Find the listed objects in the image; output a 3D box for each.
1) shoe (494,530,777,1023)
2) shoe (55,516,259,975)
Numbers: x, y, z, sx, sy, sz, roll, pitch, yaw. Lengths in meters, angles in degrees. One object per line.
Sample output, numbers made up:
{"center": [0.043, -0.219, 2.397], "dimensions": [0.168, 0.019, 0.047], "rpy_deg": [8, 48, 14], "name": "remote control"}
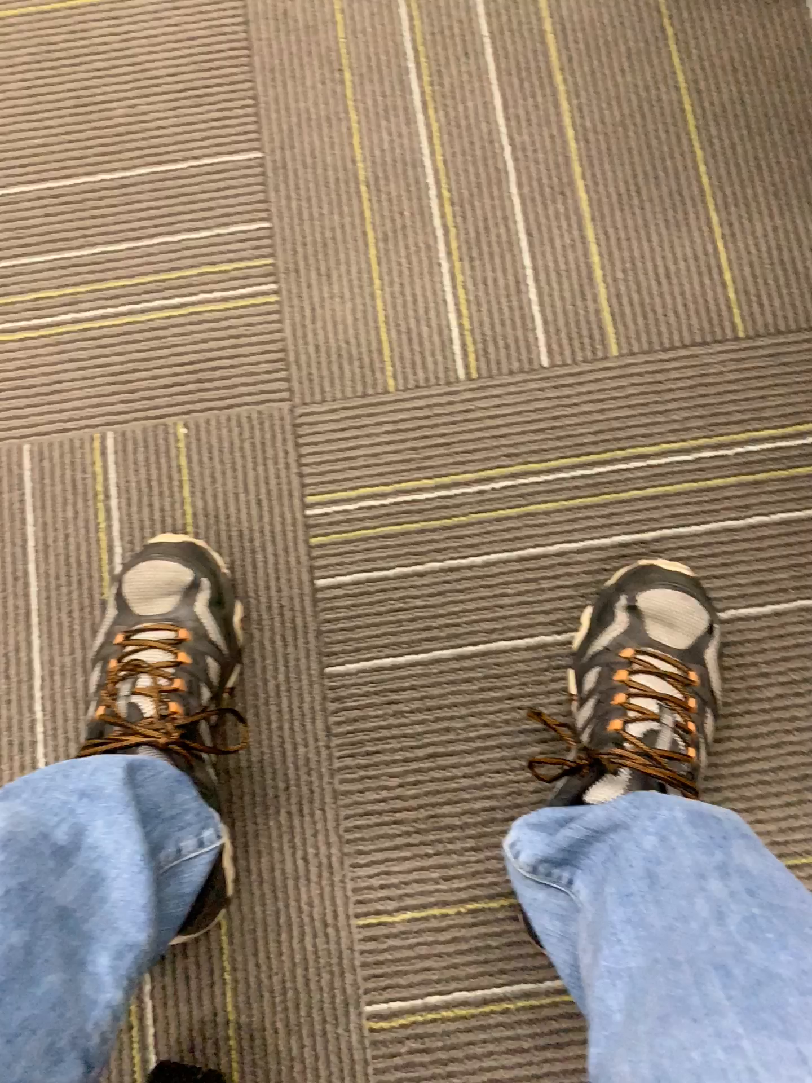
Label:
{"center": [0.174, 0.169, 0.647], "dimensions": [0.122, 0.095, 0.322], "rpy_deg": [16, 80, 5], "name": "shoe"}
{"center": [-0.194, 0.152, 0.662], "dimensions": [0.125, 0.095, 0.323], "rpy_deg": [-4, 79, 1], "name": "shoe"}
